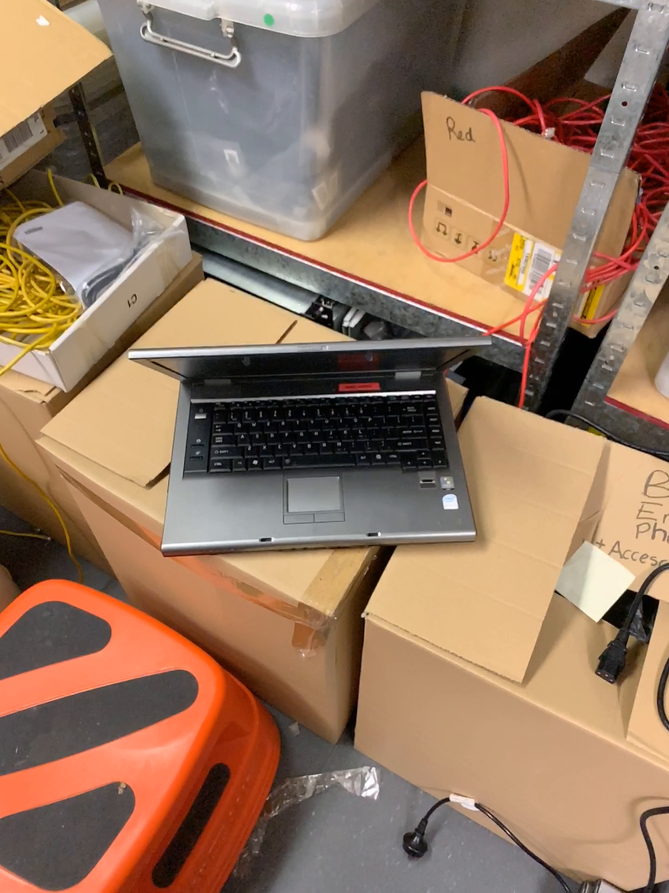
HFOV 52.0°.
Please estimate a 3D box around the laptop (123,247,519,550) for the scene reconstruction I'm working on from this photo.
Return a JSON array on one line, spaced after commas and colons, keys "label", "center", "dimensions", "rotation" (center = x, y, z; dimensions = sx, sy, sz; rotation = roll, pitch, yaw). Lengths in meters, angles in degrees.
[{"label": "laptop", "center": [-0.021, -0.053, 0.768], "dimensions": [0.352, 0.203, 0.254], "rotation": [-2, 53, -1]}]
